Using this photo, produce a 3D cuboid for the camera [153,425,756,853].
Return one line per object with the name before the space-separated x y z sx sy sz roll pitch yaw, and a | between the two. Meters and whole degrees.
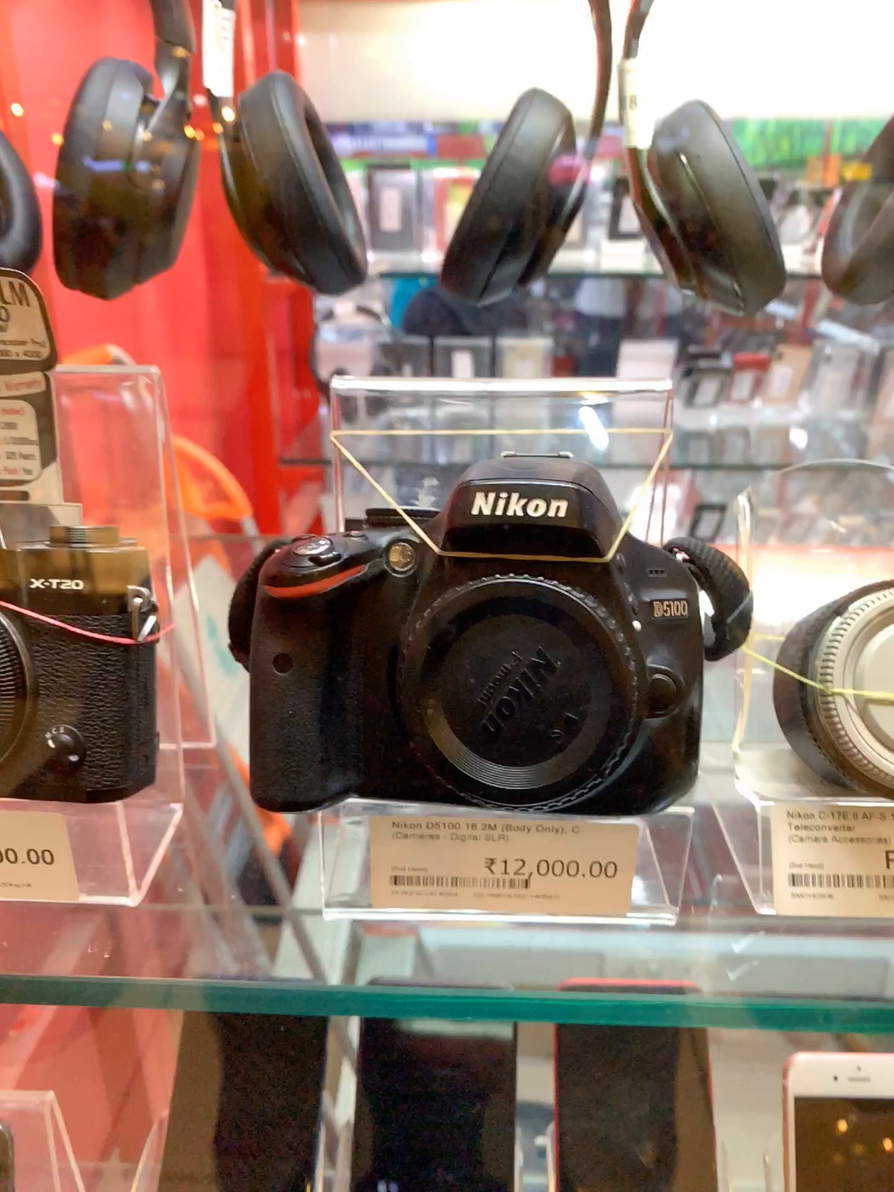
camera | 0.002 0.007 0.250 0.130 0.090 0.070 1 23 3
